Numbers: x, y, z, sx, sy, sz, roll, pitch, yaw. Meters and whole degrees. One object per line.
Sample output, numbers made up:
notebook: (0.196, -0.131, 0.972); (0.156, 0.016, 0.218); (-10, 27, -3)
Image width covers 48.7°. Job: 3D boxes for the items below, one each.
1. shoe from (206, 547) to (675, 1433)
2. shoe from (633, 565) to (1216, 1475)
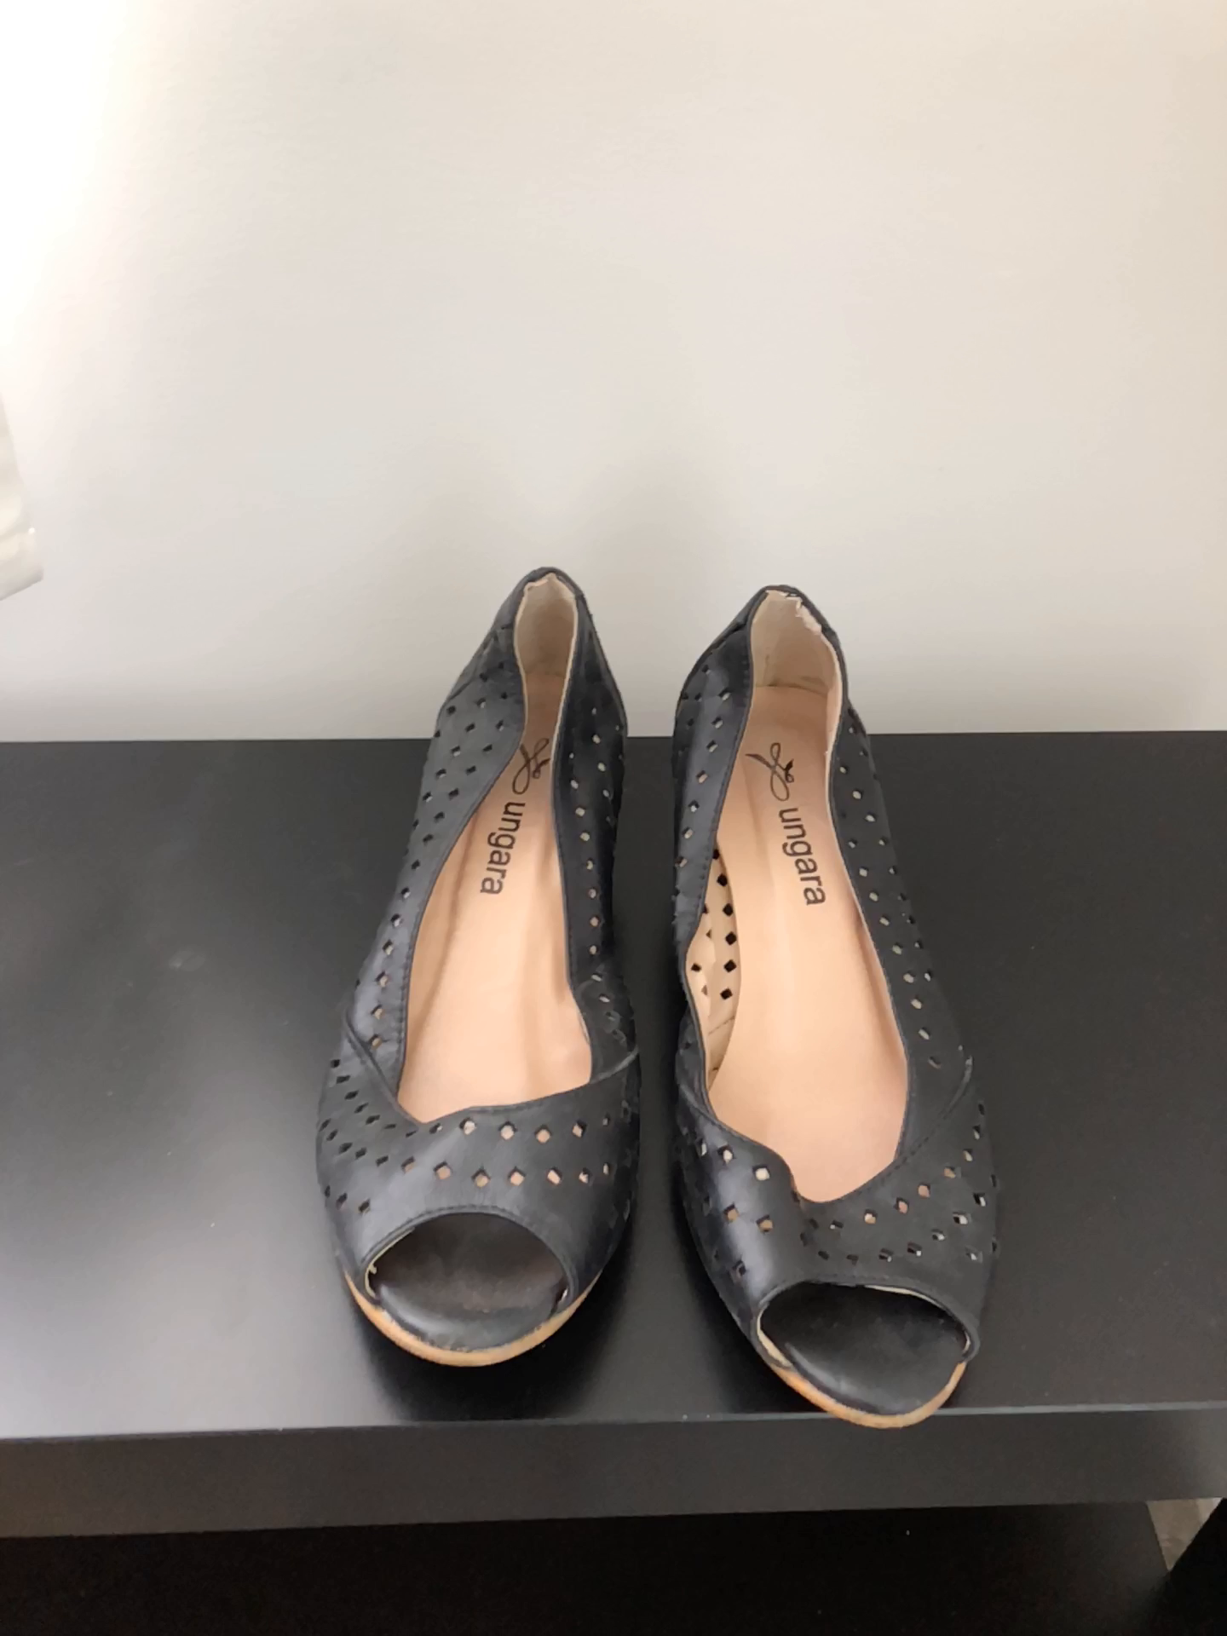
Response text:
shoe: (-0.035, 0.028, 0.368); (0.085, 0.100, 0.231); (0, 40, -2)
shoe: (0.056, 0.034, 0.352); (0.085, 0.100, 0.221); (-1, 40, -3)
